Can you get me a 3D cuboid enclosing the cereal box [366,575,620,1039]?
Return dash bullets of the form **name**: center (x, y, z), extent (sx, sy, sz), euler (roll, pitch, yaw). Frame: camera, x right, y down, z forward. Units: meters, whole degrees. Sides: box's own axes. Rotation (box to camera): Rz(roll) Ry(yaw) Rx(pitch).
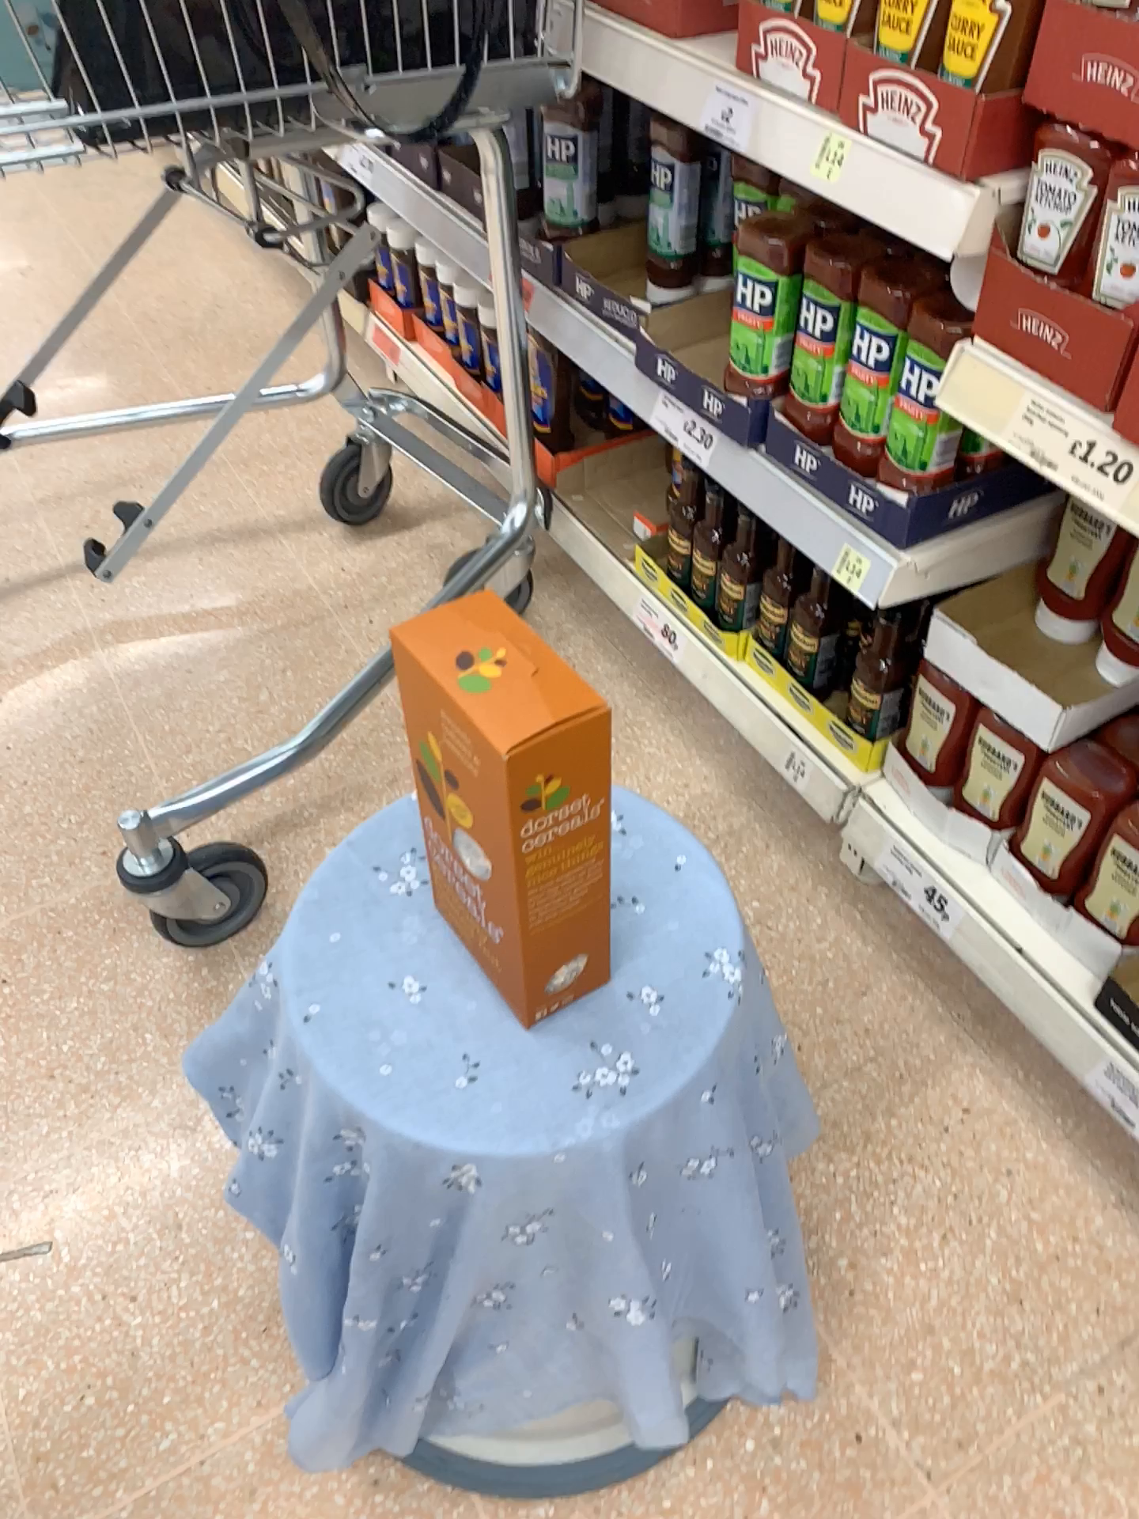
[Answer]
- **cereal box**: center (-0.038, 0.033, 0.641), extent (0.070, 0.228, 0.121), euler (-26, 51, -23)
